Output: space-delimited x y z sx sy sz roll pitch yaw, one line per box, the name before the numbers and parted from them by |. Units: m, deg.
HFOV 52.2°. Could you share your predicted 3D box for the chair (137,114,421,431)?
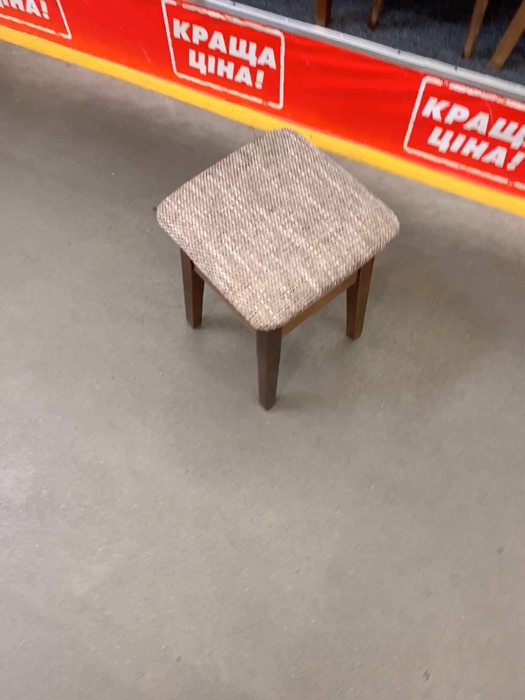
chair | 0.026 -0.134 1.153 0.360 0.479 0.340 -37 70 -16
